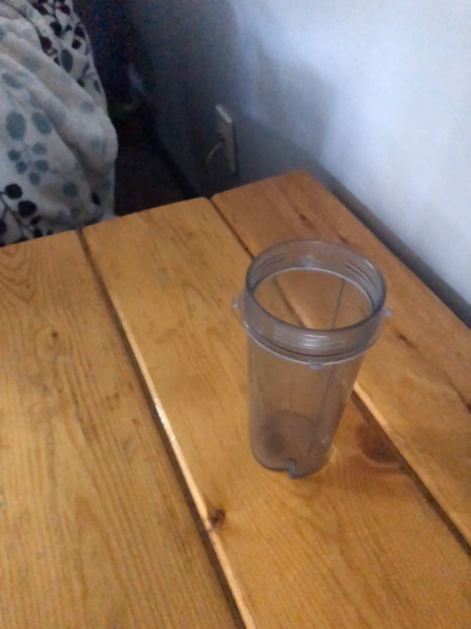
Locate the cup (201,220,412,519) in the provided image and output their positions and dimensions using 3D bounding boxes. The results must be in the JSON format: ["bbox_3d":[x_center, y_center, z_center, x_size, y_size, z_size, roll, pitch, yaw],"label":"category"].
[{"bbox_3d":[0.041,0.046,0.368,0.090,0.189,0.080,-26,51,-21],"label":"cup"}]
